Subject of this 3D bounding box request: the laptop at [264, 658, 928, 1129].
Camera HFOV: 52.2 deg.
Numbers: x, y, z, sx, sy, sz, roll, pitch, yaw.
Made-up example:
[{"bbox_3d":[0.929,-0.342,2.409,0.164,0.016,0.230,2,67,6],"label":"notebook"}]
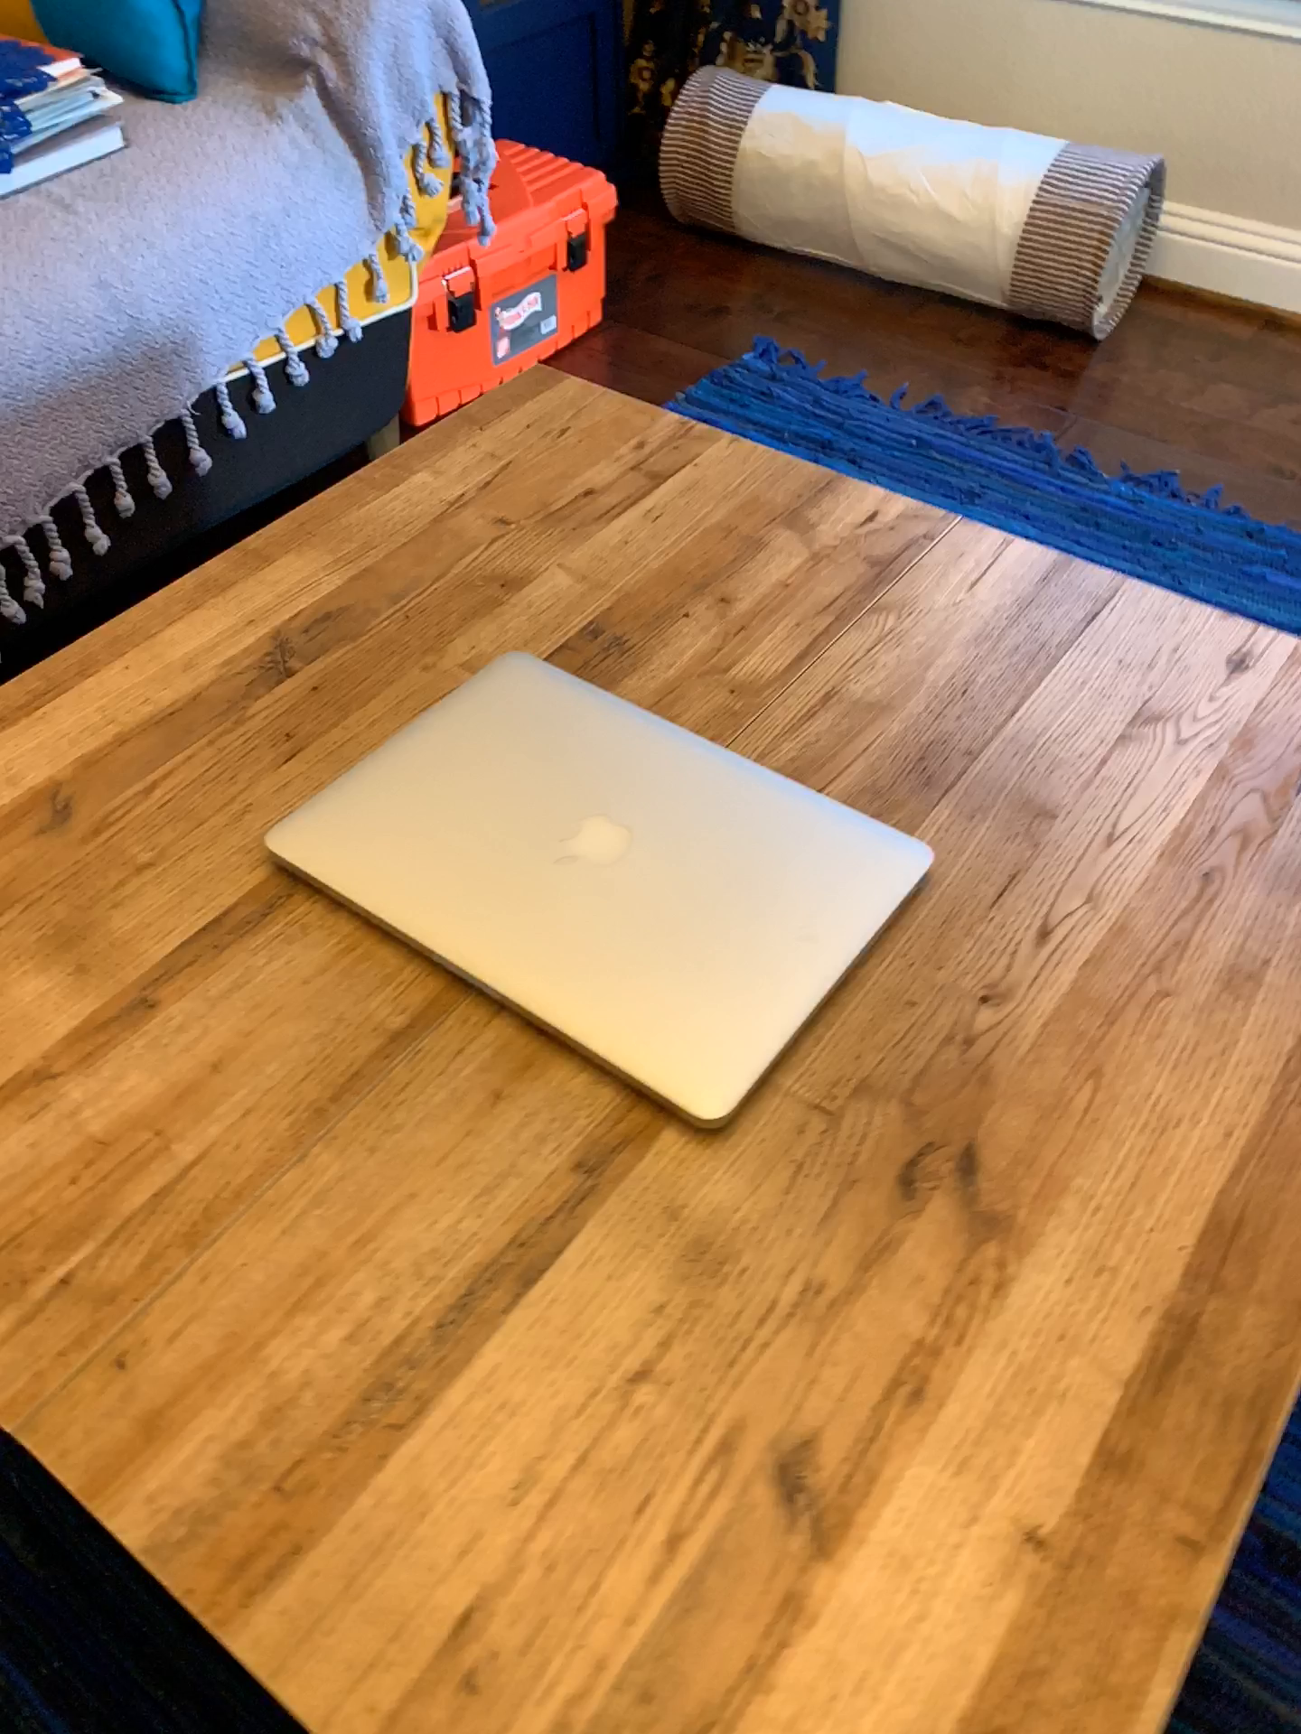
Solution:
[{"bbox_3d":[-0.031,-0.006,0.728,0.298,0.002,0.208,28,54,24],"label":"laptop"}]
